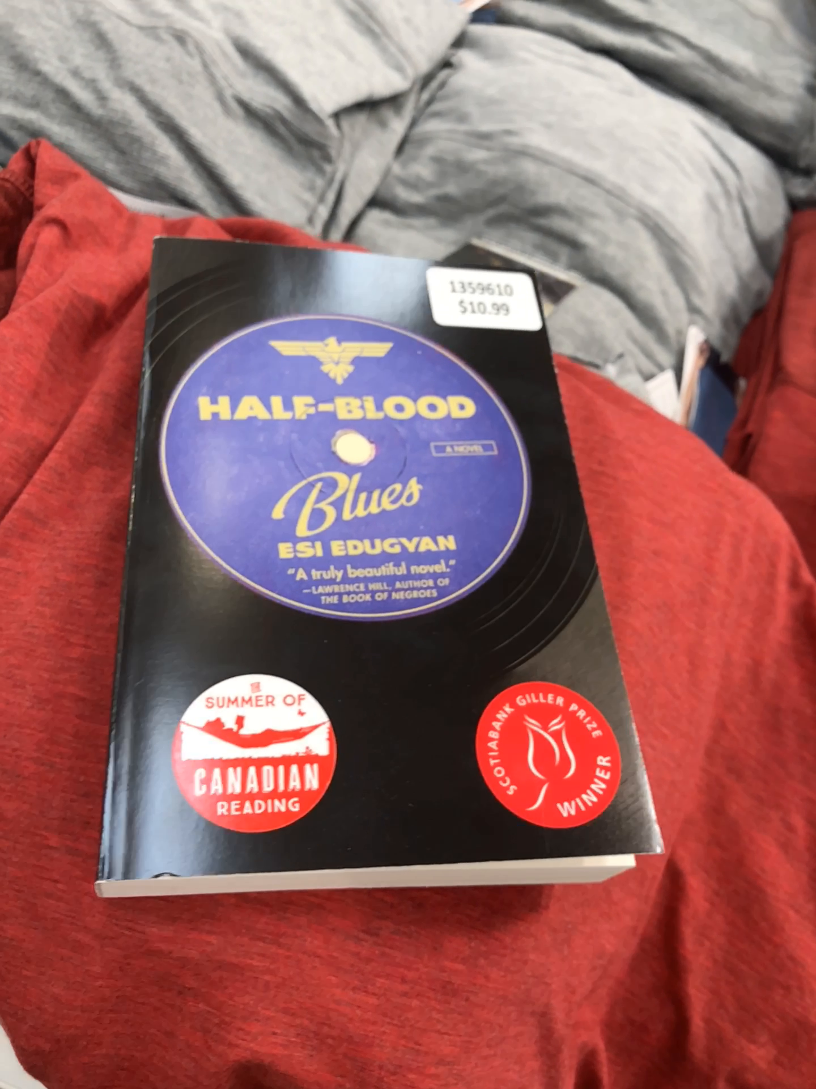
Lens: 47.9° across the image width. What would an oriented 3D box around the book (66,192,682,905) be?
[{"bbox_3d":[-0.013,-0.011,0.279,0.146,0.025,0.220,5,57,-16],"label":"book"}]
